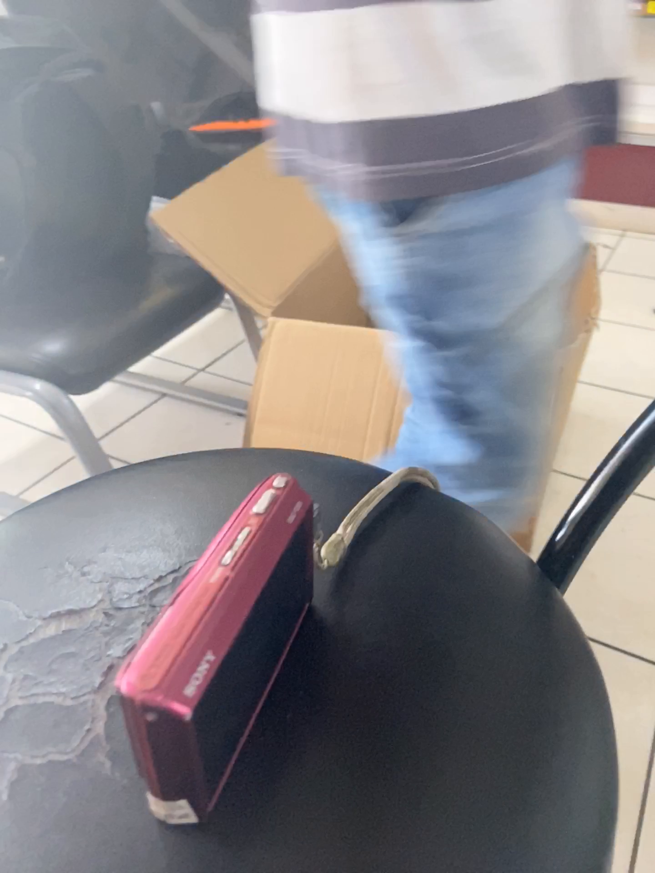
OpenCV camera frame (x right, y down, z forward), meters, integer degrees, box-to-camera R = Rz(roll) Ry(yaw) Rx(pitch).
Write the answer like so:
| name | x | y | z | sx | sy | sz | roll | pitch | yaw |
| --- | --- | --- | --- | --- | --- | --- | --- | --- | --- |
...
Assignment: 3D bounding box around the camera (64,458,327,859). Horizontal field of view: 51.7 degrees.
| name | x | y | z | sx | sy | sz | roll | pitch | yaw |
| --- | --- | --- | --- | --- | --- | --- | --- | --- | --- |
| camera | -0.031 | 0.062 | 0.212 | 0.030 | 0.060 | 0.101 | 11 | 36 | 17 |
